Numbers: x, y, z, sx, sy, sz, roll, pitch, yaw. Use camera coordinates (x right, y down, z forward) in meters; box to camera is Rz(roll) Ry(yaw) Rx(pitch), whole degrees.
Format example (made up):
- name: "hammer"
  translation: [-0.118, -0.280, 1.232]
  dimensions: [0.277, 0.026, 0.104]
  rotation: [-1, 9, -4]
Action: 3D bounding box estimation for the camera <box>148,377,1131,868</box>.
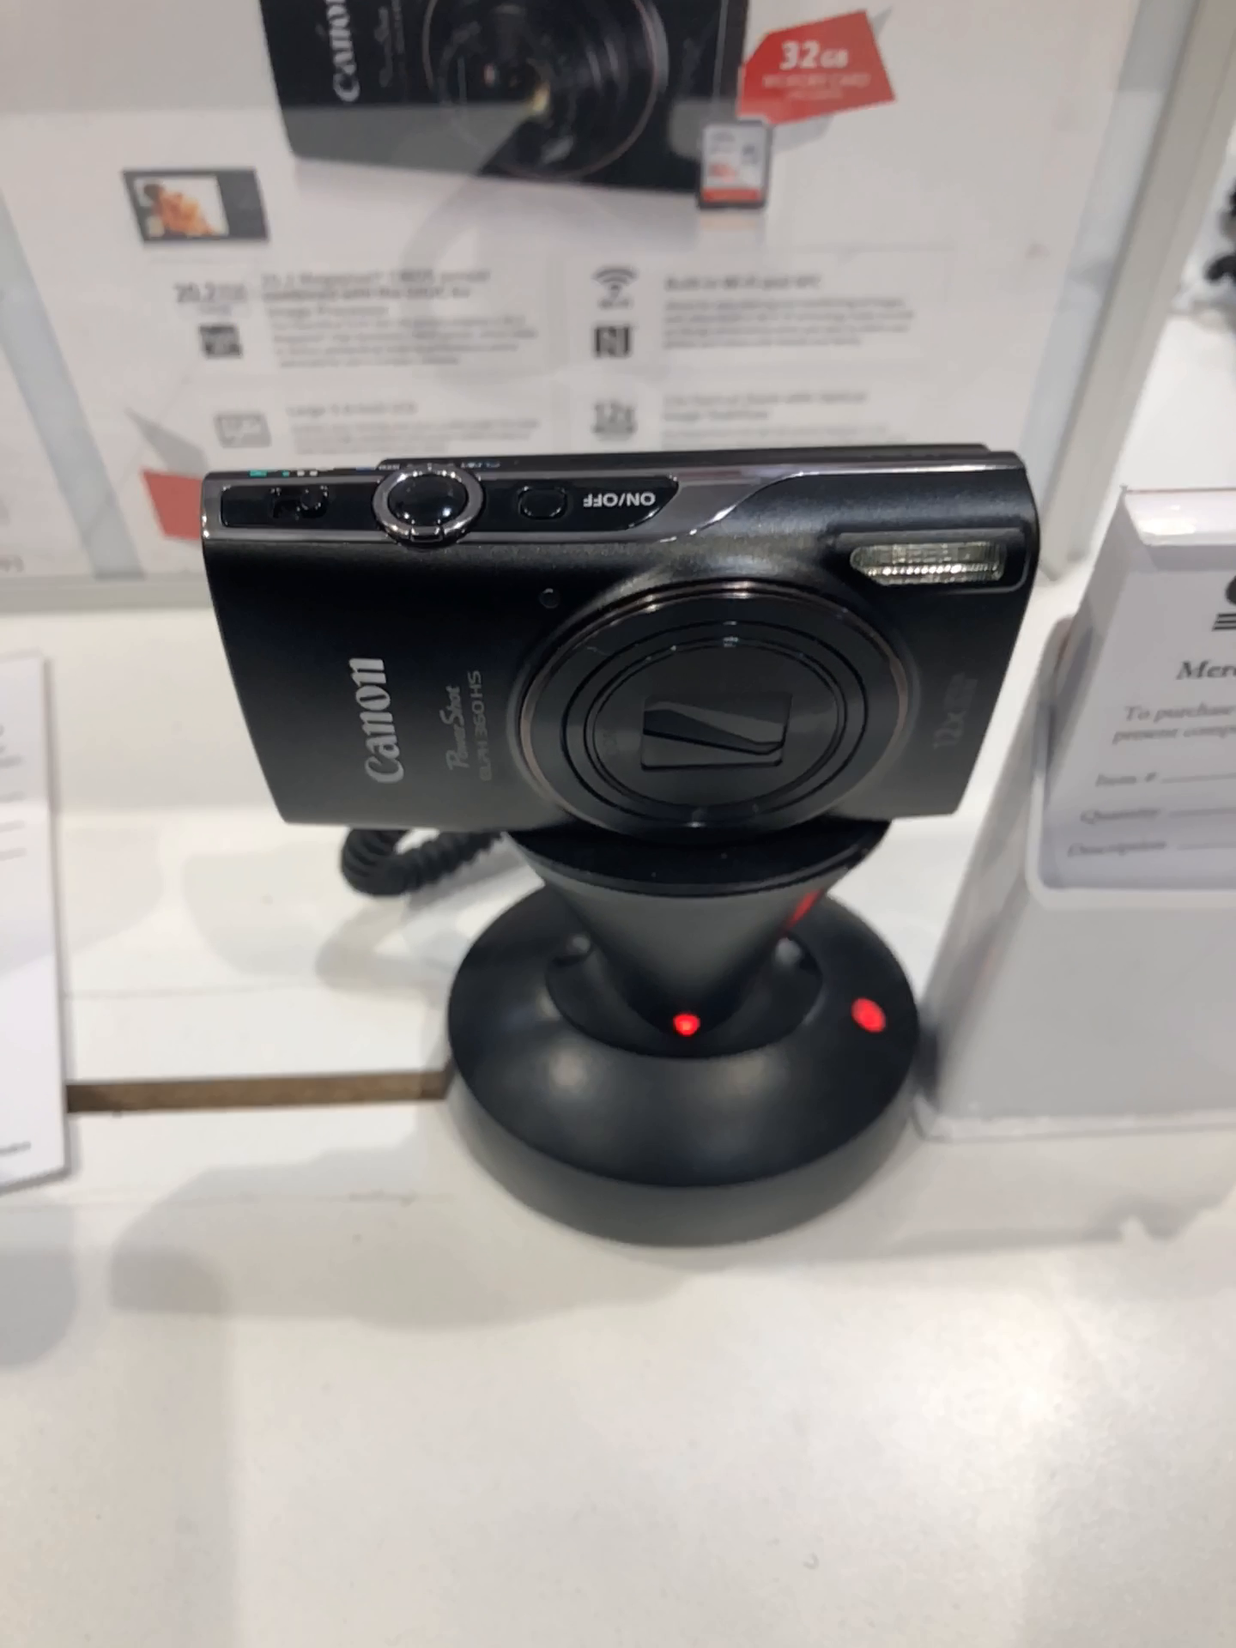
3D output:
- name: "camera"
  translation: [0.002, -0.025, 0.189]
  dimensions: [0.110, 0.060, 0.030]
  rotation: [-1, 53, -1]
